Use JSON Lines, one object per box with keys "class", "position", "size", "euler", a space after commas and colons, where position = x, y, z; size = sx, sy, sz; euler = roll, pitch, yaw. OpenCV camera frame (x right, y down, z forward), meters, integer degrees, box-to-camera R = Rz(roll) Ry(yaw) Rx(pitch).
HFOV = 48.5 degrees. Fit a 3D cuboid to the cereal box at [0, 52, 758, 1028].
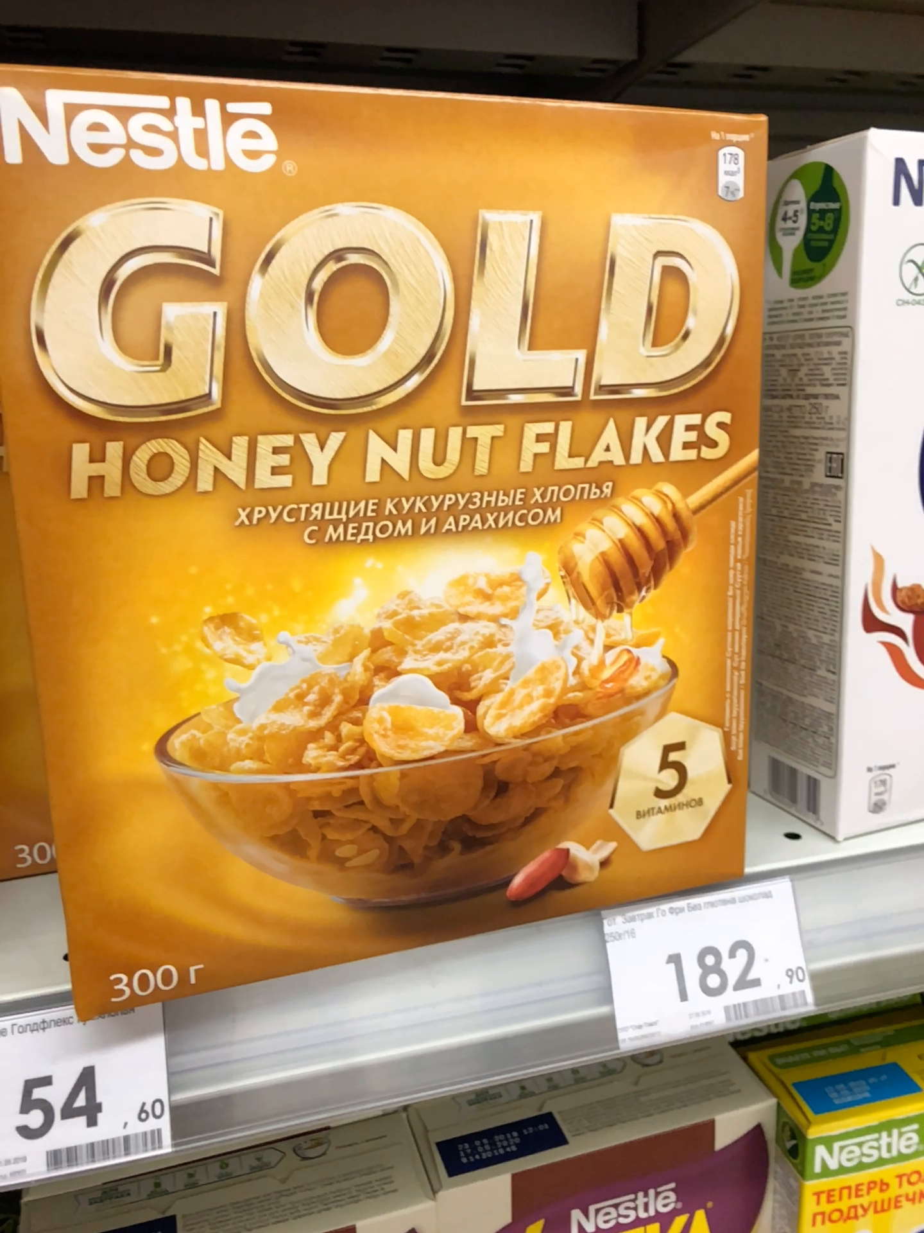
{"class": "cereal box", "position": [-0.017, -0.021, 0.282], "size": [0.190, 0.219, 0.050], "euler": [-6, 12, -18]}
